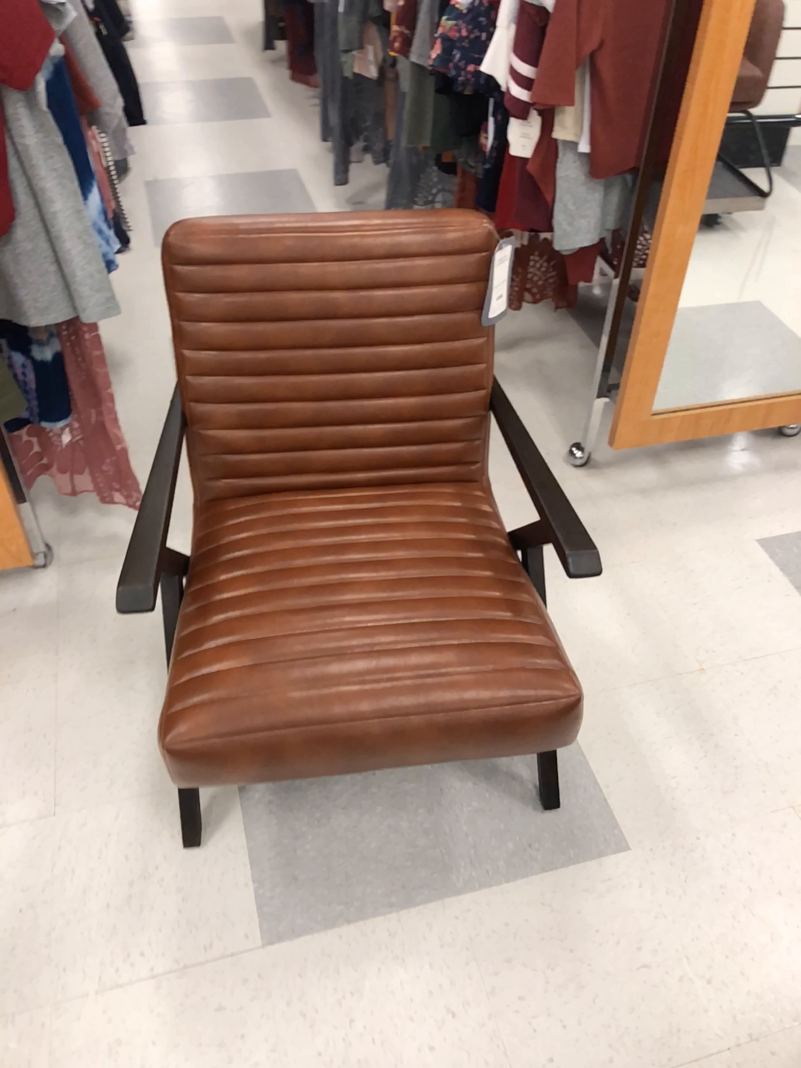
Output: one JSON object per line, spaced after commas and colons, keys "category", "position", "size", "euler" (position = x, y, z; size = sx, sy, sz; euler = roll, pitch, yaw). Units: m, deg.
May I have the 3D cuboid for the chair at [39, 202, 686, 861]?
{"category": "chair", "position": [-0.073, -0.013, 1.417], "size": [0.675, 0.756, 0.681], "euler": [-4, 43, -6]}
